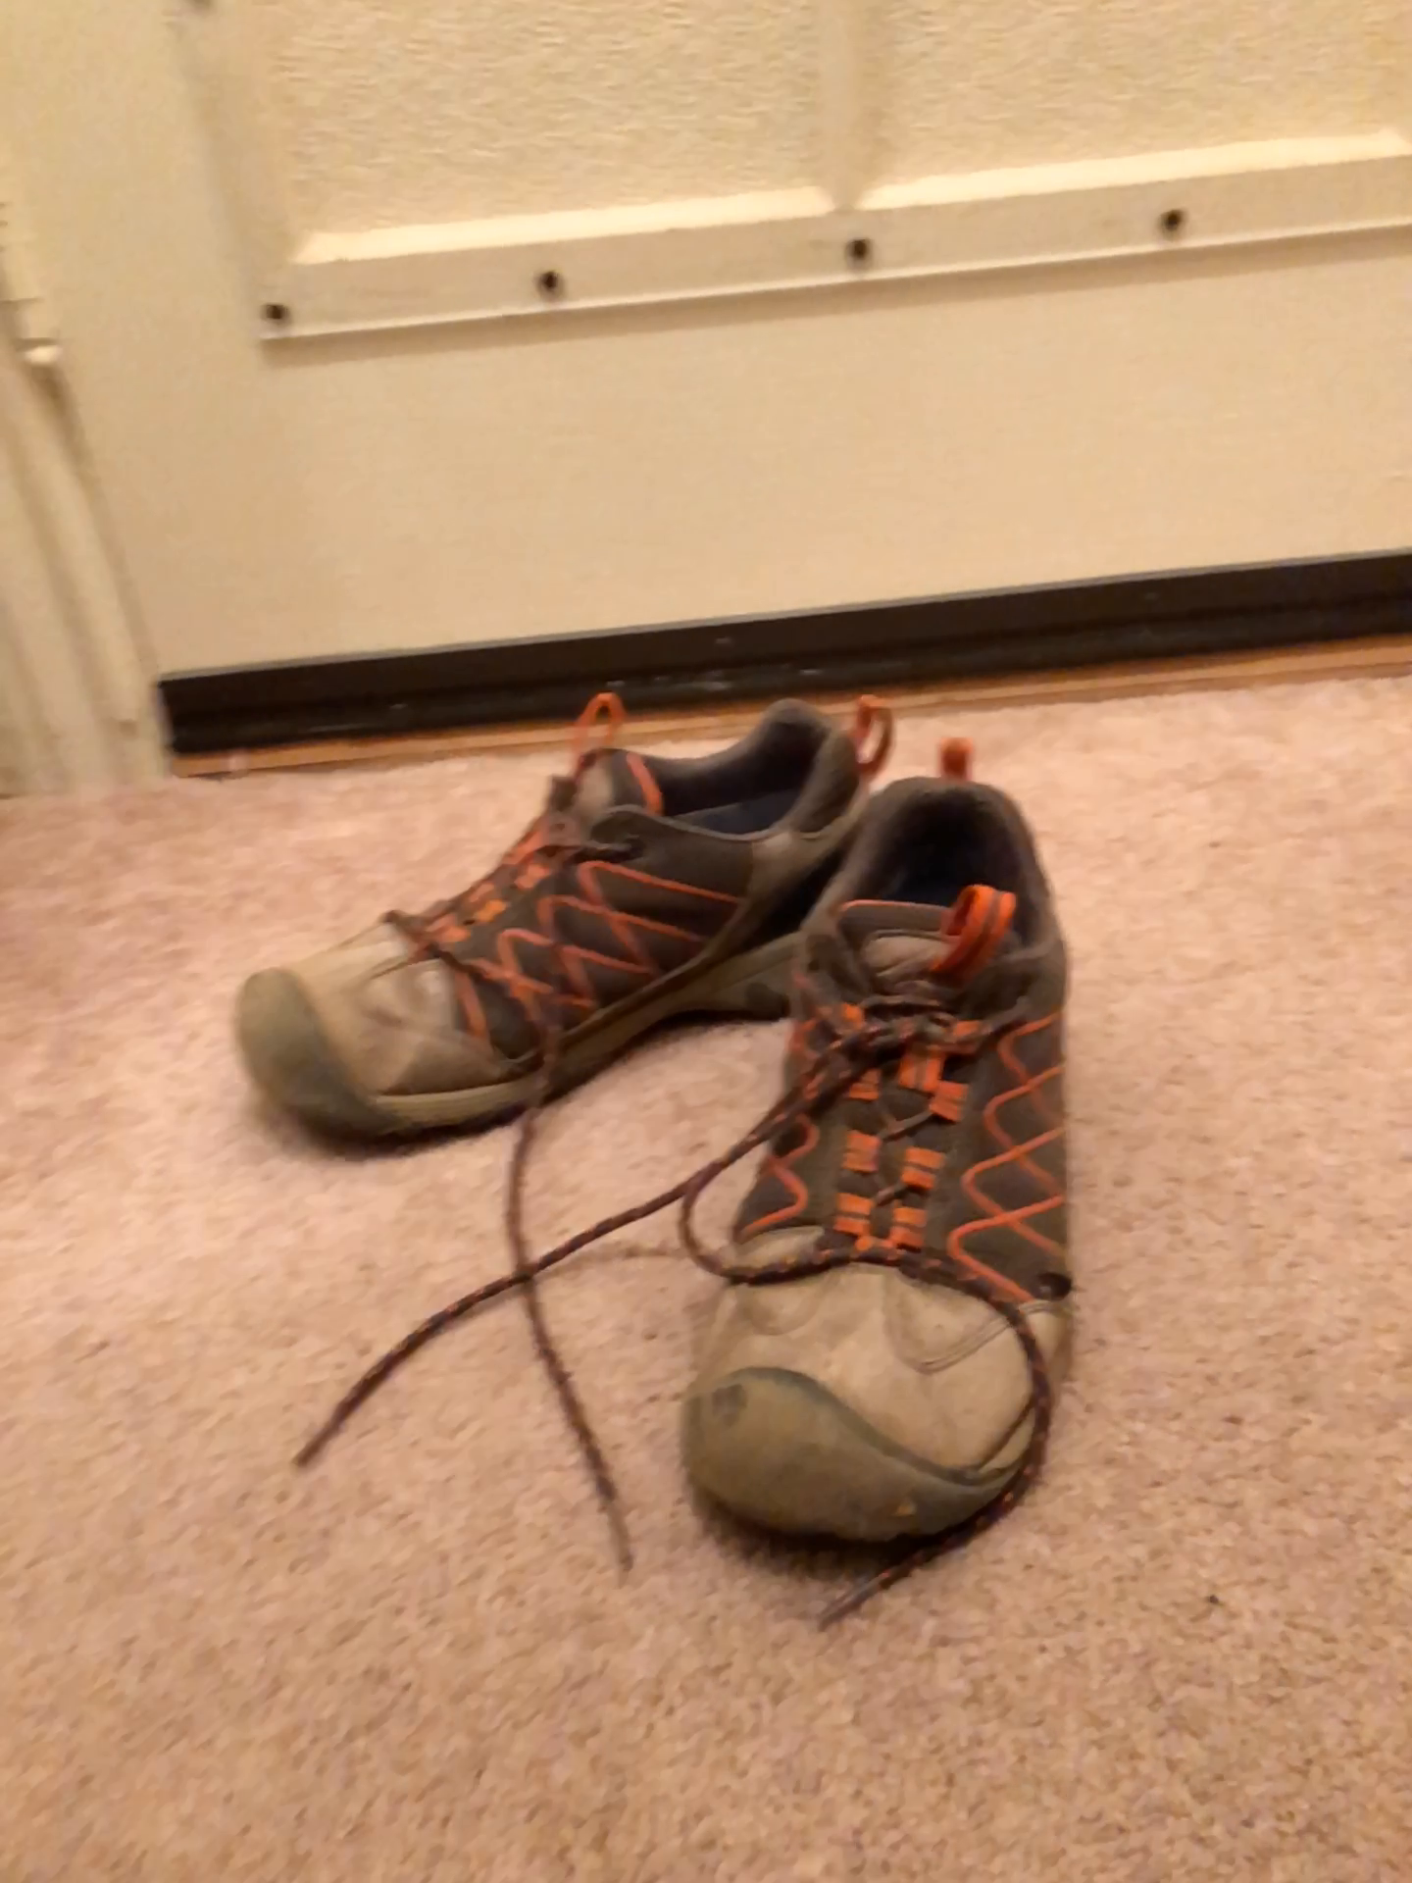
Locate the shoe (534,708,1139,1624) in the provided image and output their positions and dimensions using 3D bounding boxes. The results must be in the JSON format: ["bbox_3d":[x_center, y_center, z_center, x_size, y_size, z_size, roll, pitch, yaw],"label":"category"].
[{"bbox_3d":[0.062,0.048,0.505,0.120,0.129,0.272,6,36,17],"label":"shoe"}]

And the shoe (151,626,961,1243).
[{"bbox_3d":[-0.053,-0.014,0.654,0.300,0.129,0.121,-20,37,-19],"label":"shoe"}]
